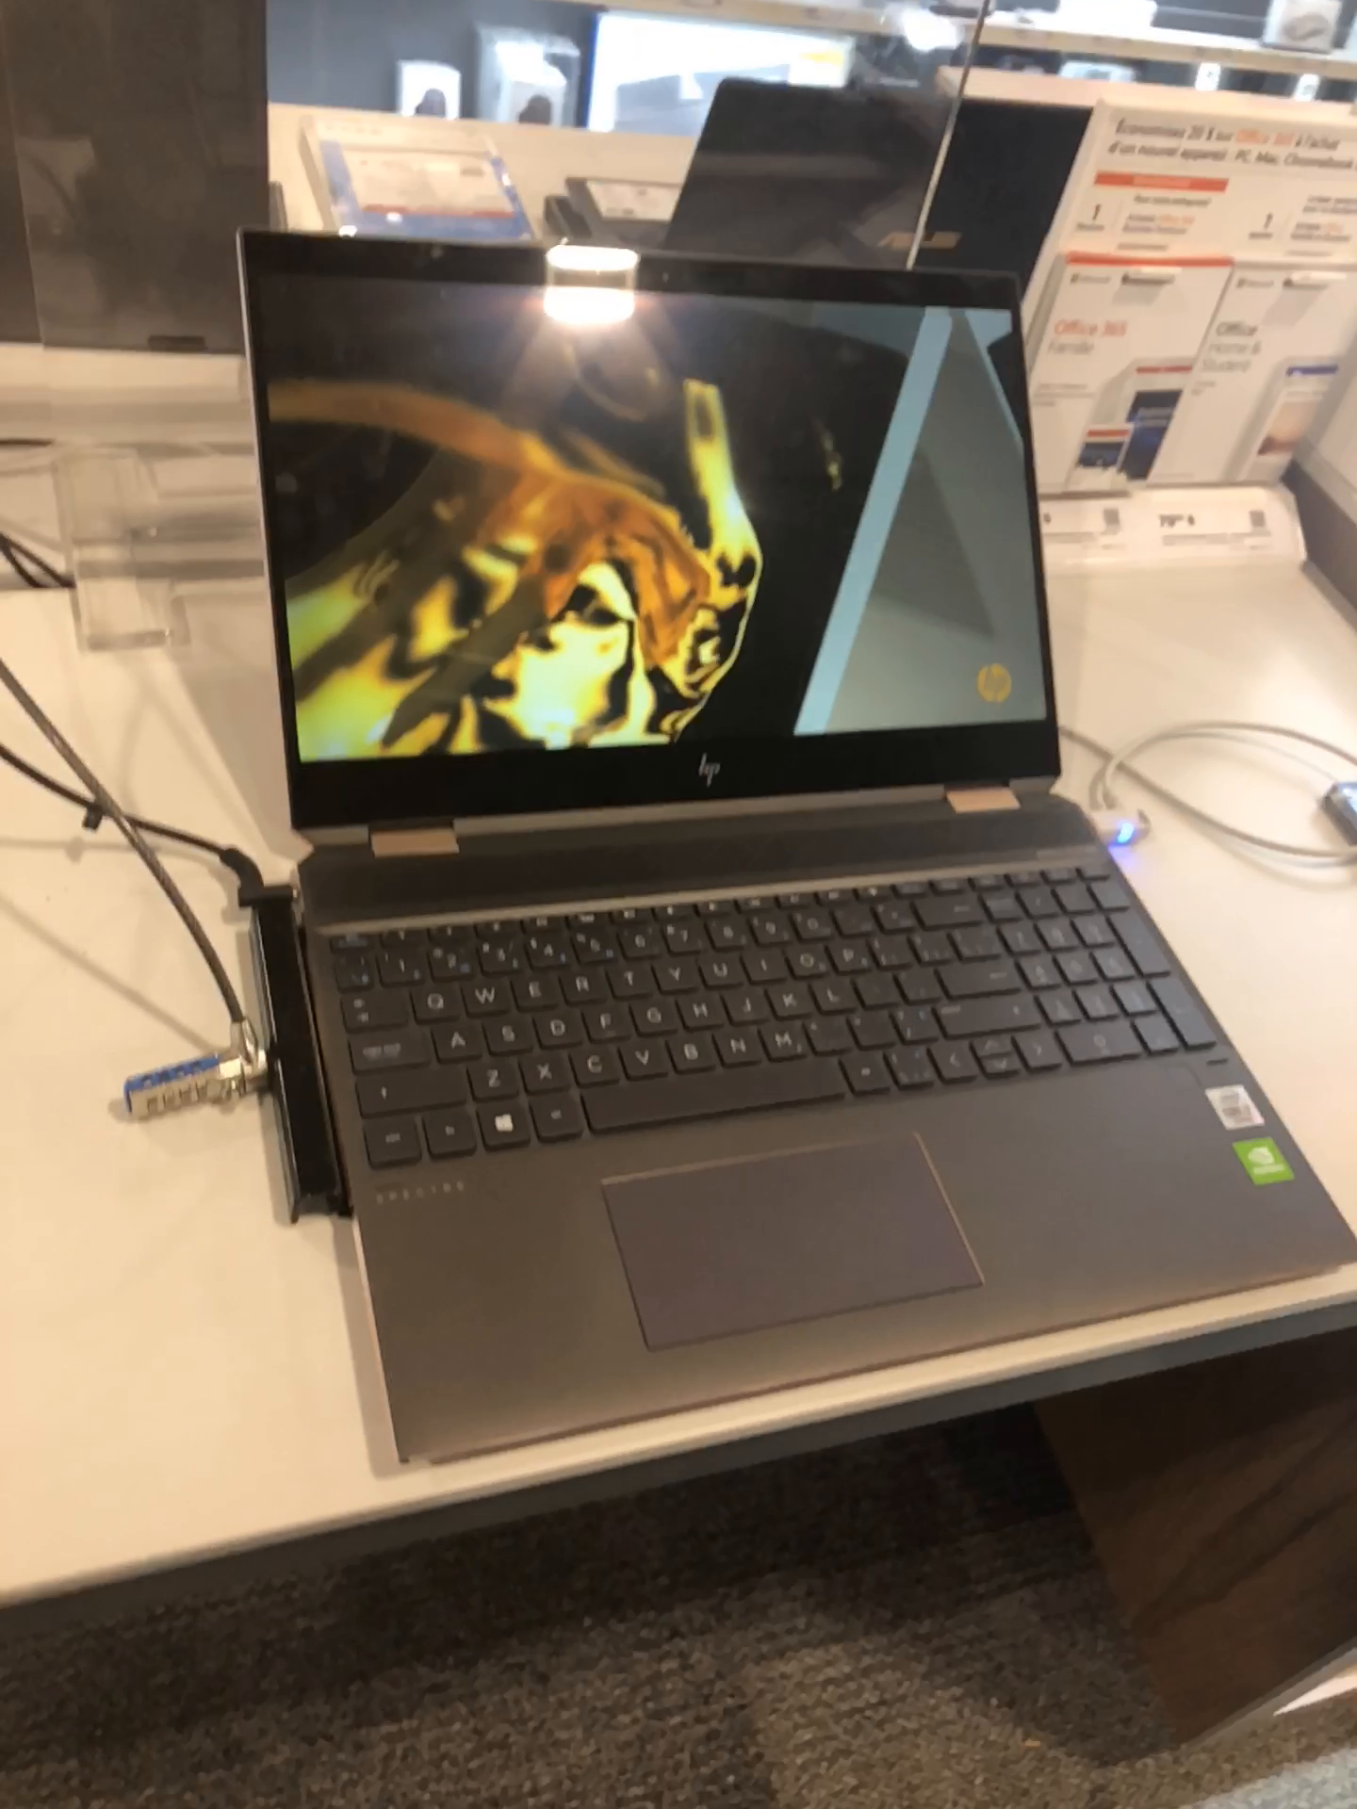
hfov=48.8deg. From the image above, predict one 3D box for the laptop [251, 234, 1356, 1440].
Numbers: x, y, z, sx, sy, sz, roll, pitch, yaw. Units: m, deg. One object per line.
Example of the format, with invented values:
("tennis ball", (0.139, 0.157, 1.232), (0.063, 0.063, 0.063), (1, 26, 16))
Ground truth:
("laptop", (0.036, -0.068, 0.553), (0.334, 0.145, 0.426), (-5, 50, -17))
